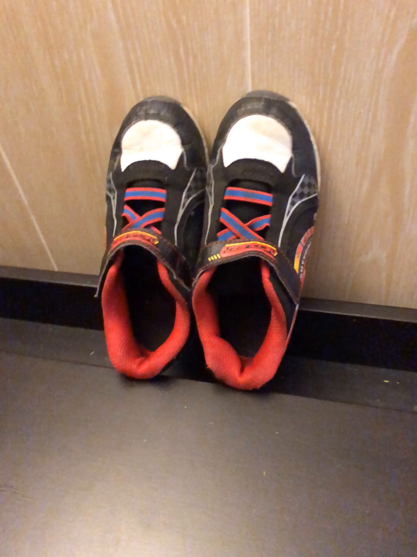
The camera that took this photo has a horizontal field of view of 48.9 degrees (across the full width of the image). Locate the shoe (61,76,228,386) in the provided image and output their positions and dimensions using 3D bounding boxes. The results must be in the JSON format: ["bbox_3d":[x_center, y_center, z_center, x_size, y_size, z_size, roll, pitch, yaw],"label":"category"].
[{"bbox_3d":[-0.044,-0.035,0.341,0.090,0.200,0.070,5,2,13],"label":"shoe"}]

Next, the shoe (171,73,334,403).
[{"bbox_3d":[0.034,-0.030,0.337,0.090,0.210,0.070,6,6,14],"label":"shoe"}]
